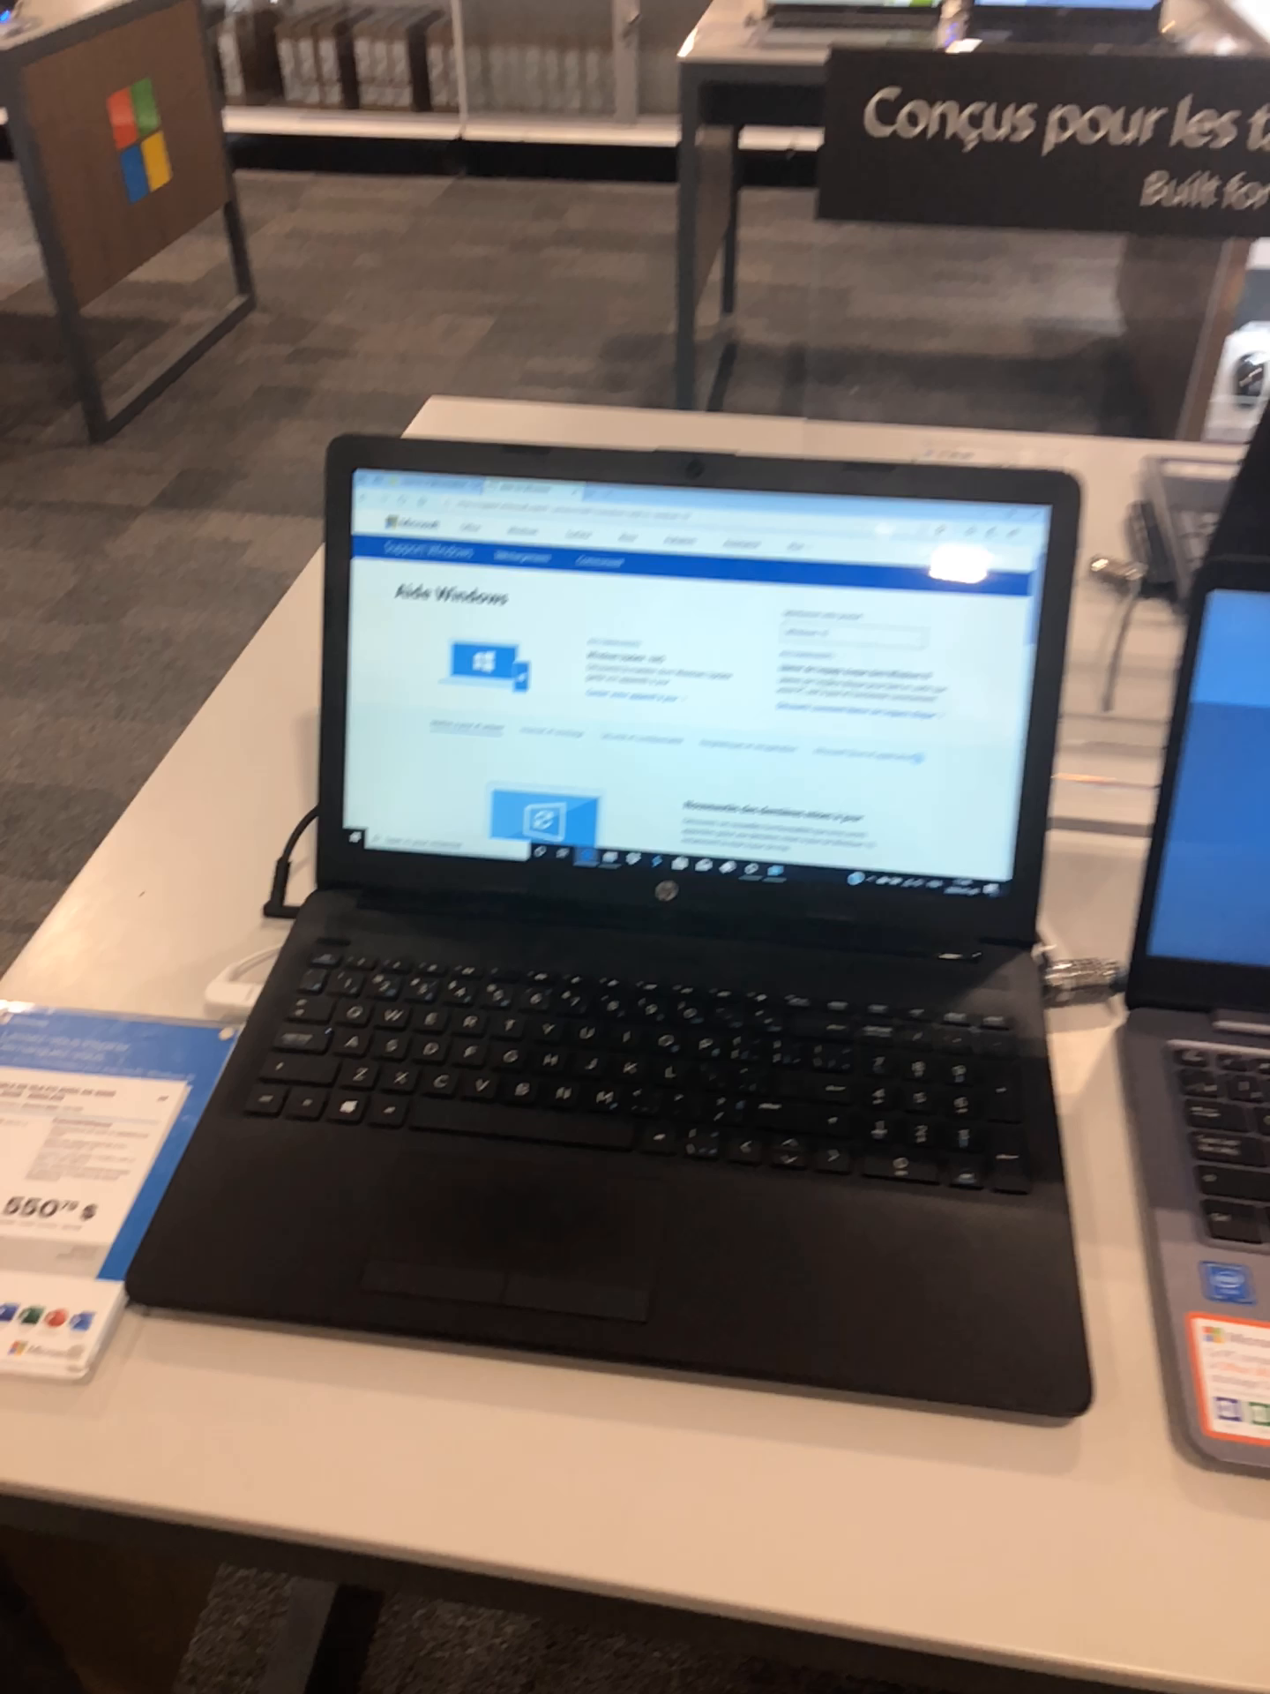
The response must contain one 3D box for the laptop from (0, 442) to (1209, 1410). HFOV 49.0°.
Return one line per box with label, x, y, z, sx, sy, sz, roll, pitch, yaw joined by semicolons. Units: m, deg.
laptop;0.001;-0.003;0.595;0.356;0.195;0.361;4;39;7
